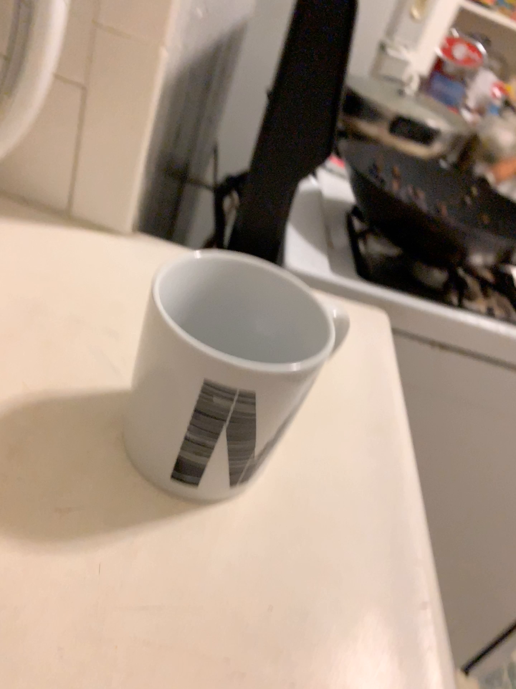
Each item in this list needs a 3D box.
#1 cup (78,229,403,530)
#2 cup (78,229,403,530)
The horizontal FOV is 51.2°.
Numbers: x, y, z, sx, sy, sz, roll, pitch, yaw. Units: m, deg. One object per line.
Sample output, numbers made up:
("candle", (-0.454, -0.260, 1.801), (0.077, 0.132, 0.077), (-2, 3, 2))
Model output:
("cup", (-0.015, 0.010, 0.313), (0.130, 0.109, 0.100), (-14, 49, -40))
("cup", (-0.015, 0.010, 0.313), (0.130, 0.109, 0.100), (-14, 49, -40))
